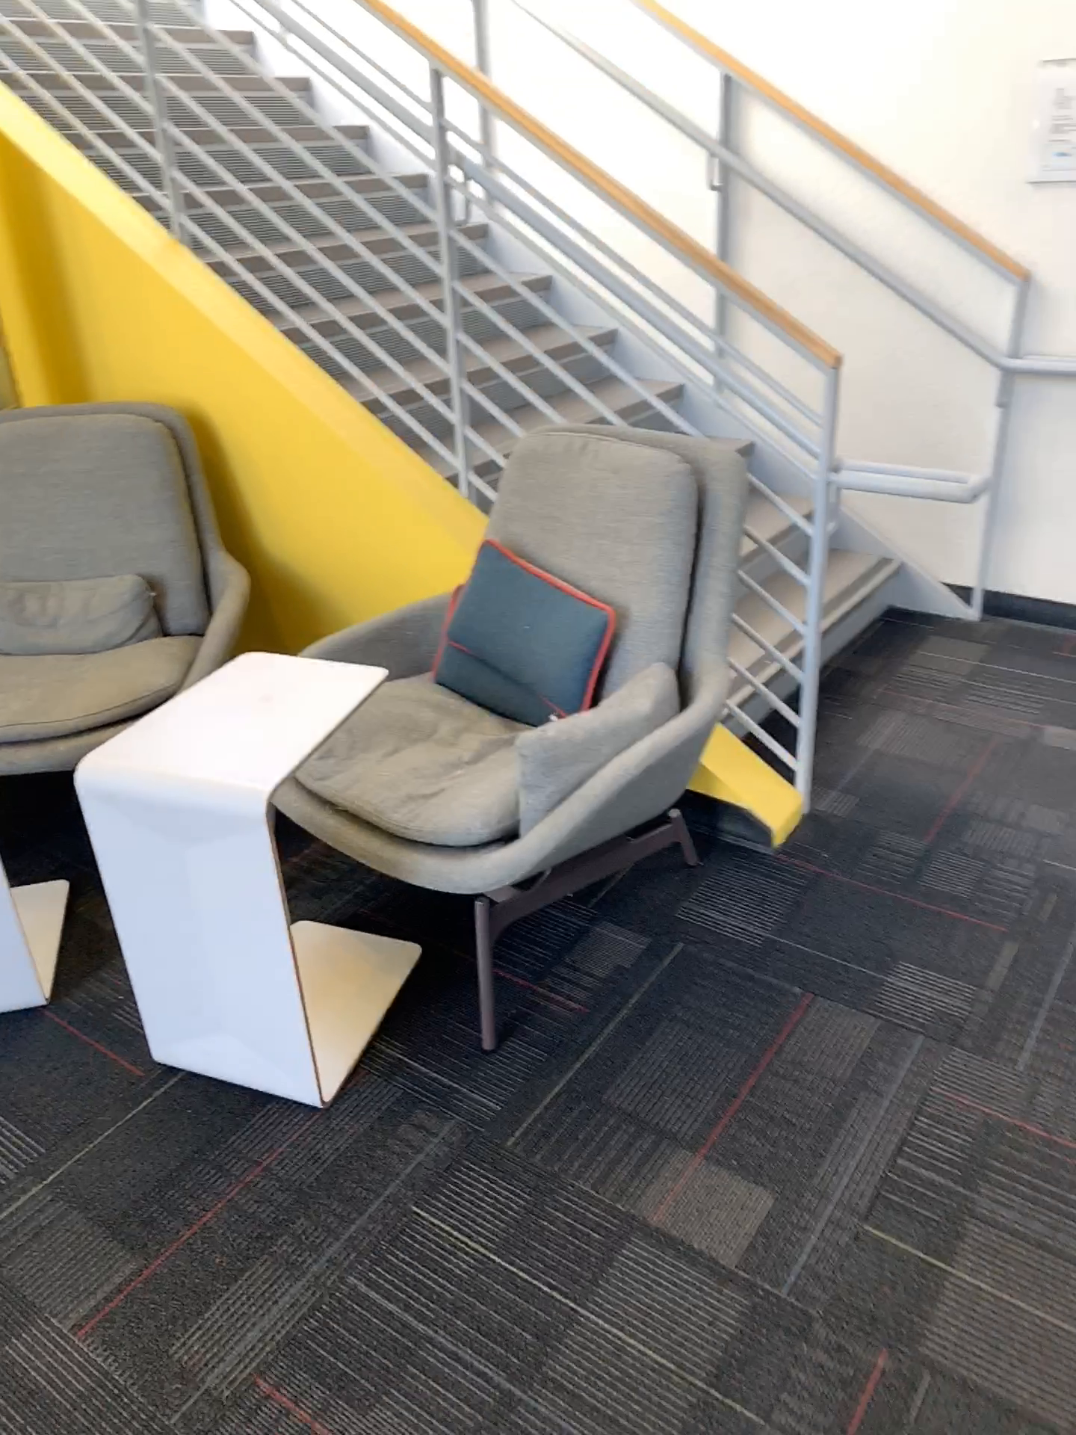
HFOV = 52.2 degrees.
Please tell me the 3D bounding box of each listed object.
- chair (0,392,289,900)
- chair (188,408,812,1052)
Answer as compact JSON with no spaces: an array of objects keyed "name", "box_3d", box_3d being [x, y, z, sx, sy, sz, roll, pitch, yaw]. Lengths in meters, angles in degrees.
[{"name":"chair","box_3d":[-1.228,-0.237,2.885,0.890,1.015,0.844,-6,24,-4]},{"name":"chair","box_3d":[-0.070,-0.084,2.362,0.881,0.945,0.873,-22,31,-38]}]
